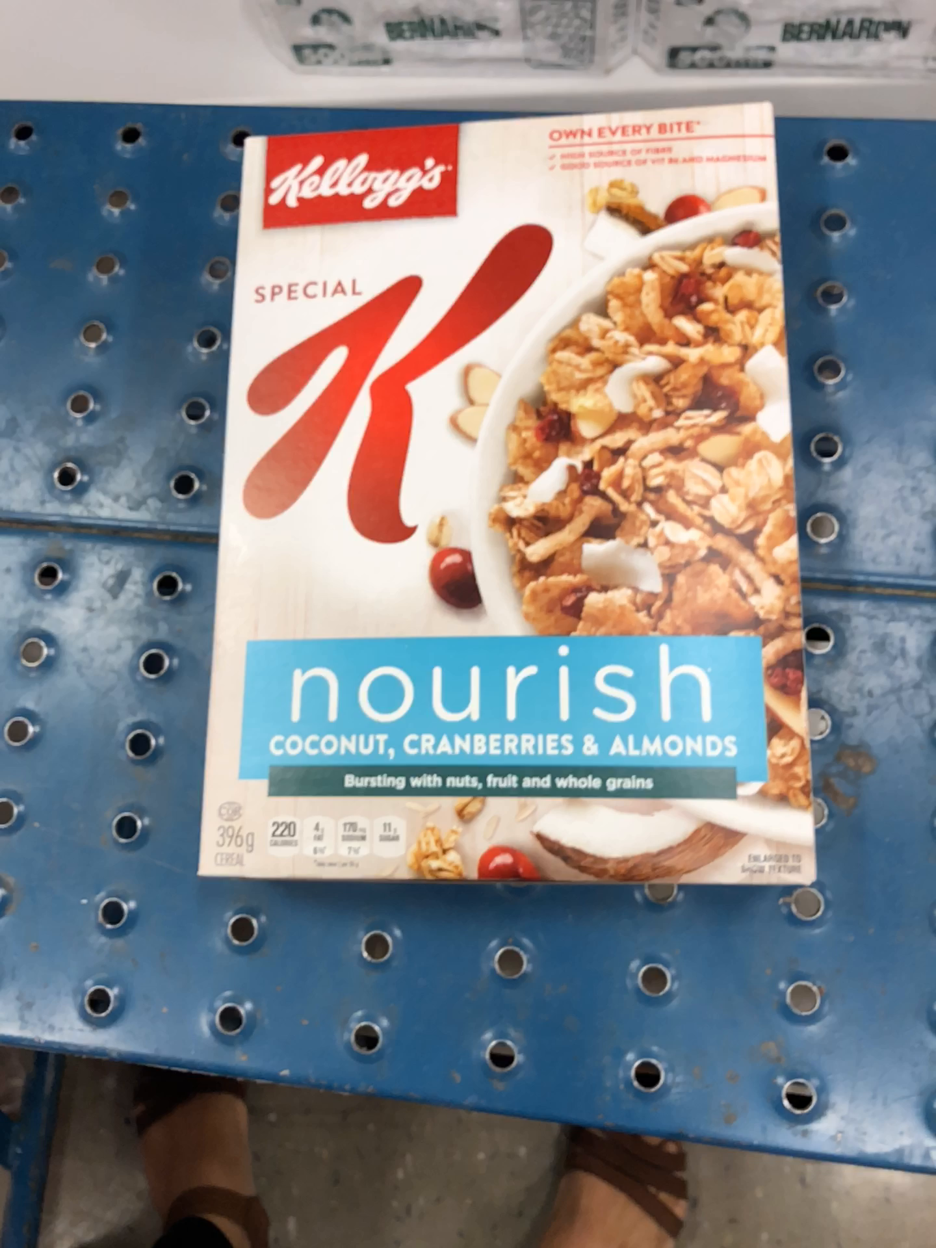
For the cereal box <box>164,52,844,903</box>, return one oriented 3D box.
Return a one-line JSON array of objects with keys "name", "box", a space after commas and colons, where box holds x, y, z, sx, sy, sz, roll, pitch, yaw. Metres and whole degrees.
[{"name": "cereal box", "box": [0.011, -0.053, 0.375, 0.210, 0.050, 0.290, -1, 79, 6]}]
